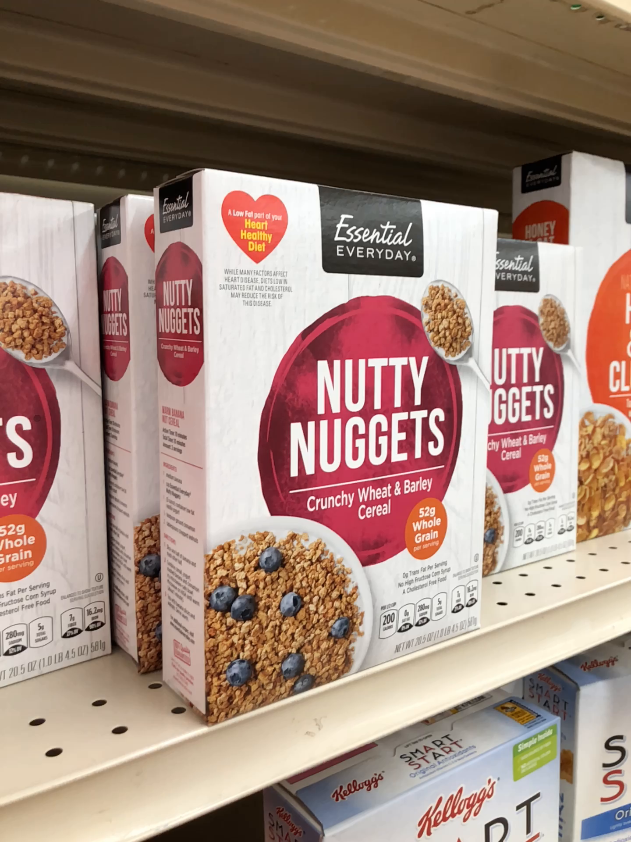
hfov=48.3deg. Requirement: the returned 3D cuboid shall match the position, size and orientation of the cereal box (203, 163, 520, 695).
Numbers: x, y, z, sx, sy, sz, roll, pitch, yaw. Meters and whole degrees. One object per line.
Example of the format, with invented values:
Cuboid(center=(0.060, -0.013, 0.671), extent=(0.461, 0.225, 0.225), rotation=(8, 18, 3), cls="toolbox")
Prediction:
Cuboid(center=(0.029, 0.000, 0.372), extent=(0.170, 0.230, 0.050), rotation=(-4, 8, -36), cls="cereal box")
